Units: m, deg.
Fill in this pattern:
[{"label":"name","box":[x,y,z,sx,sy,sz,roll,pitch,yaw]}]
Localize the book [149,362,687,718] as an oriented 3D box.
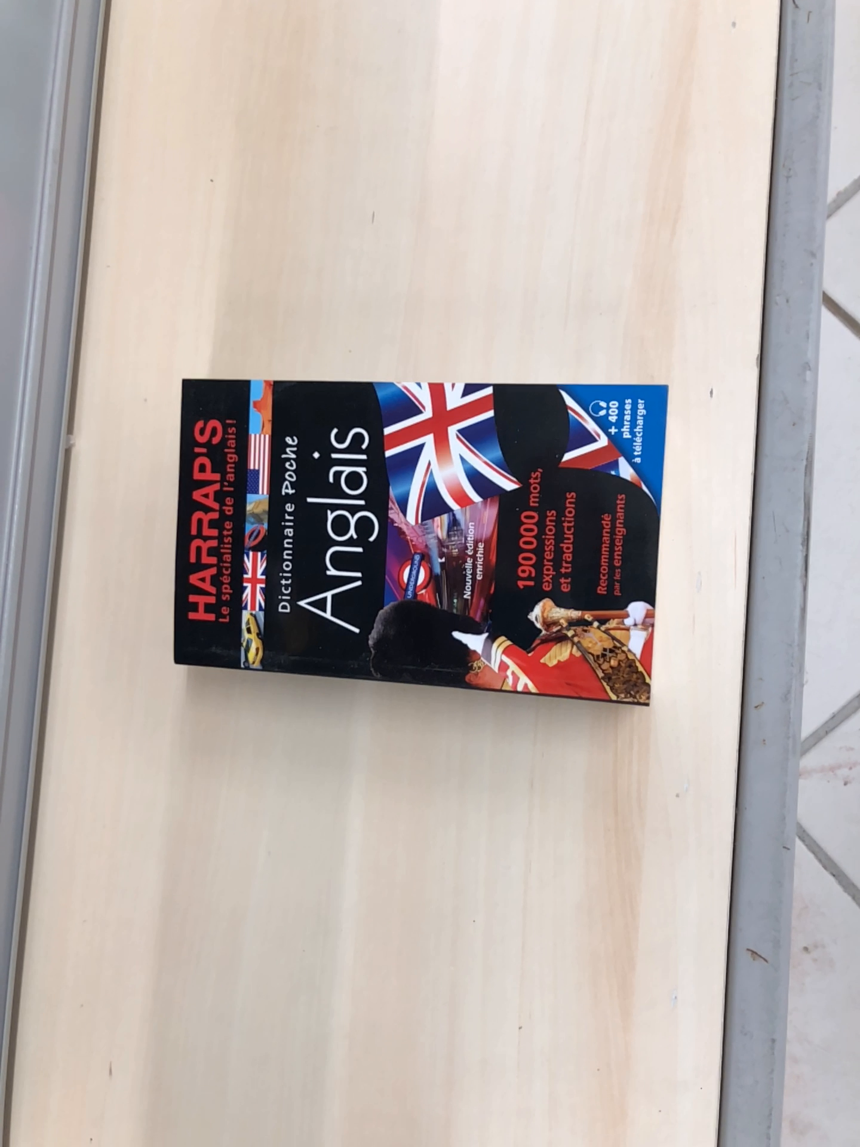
[{"label":"book","box":[-0.002,-0.013,0.352,0.181,0.057,0.115,3,84,13]}]
